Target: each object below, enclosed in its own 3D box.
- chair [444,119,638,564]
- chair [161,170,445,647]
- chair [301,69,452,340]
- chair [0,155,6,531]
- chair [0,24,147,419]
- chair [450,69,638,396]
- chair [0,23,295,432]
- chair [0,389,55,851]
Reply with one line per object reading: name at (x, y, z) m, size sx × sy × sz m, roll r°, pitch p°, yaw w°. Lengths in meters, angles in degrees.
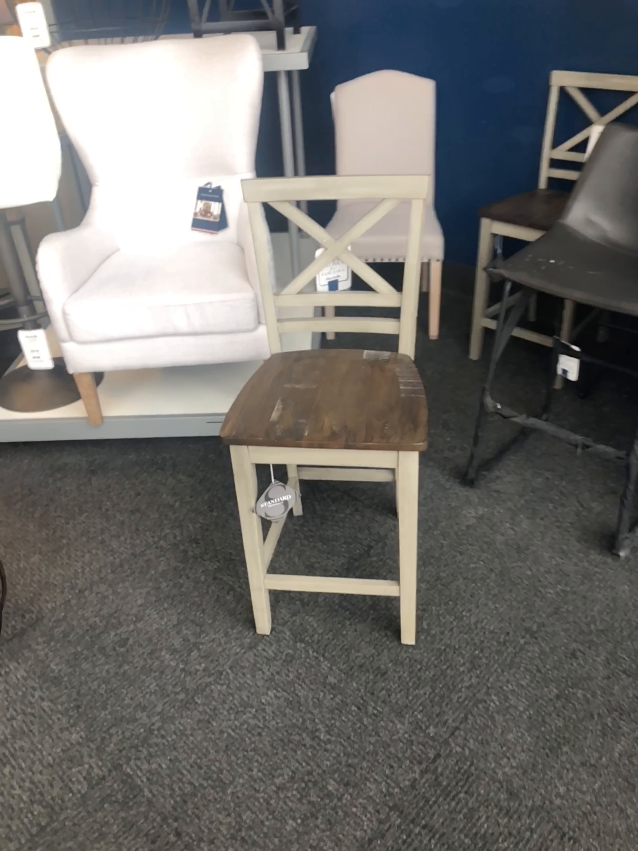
chair at (0.727, -0.241, 1.866) m, size 0.540 × 0.934 × 0.536 m, roll 23°, pitch 42°, yaw 34°
chair at (0.031, -0.032, 1.620) m, size 0.469 × 0.934 × 0.537 m, roll 2°, pitch 34°, yaw 9°
chair at (0.263, -0.909, 2.905) m, size 0.519 × 0.924 × 0.588 m, roll 2°, pitch 34°, yaw 9°
chair at (-1.415, -0.263, 2.204) m, size 0.490 × 0.944 × 0.577 m, roll -12°, pitch 35°, yaw -11°
chair at (-0.787, -0.549, 1.934) m, size 0.379 × 0.914 × 0.487 m, roll -5°, pitch 34°, yaw -1°
chair at (0.841, -0.693, 2.489) m, size 0.536 × 0.934 × 0.471 m, roll -30°, pitch 42°, yaw -33°
chair at (-0.470, -0.627, 2.202) m, size 0.689 × 1.014 × 0.708 m, roll -5°, pitch 34°, yaw -1°
chair at (-0.923, 0.368, 1.535) m, size 0.520 × 0.536 × 0.688 m, roll -13°, pitch 35°, yaw -12°
